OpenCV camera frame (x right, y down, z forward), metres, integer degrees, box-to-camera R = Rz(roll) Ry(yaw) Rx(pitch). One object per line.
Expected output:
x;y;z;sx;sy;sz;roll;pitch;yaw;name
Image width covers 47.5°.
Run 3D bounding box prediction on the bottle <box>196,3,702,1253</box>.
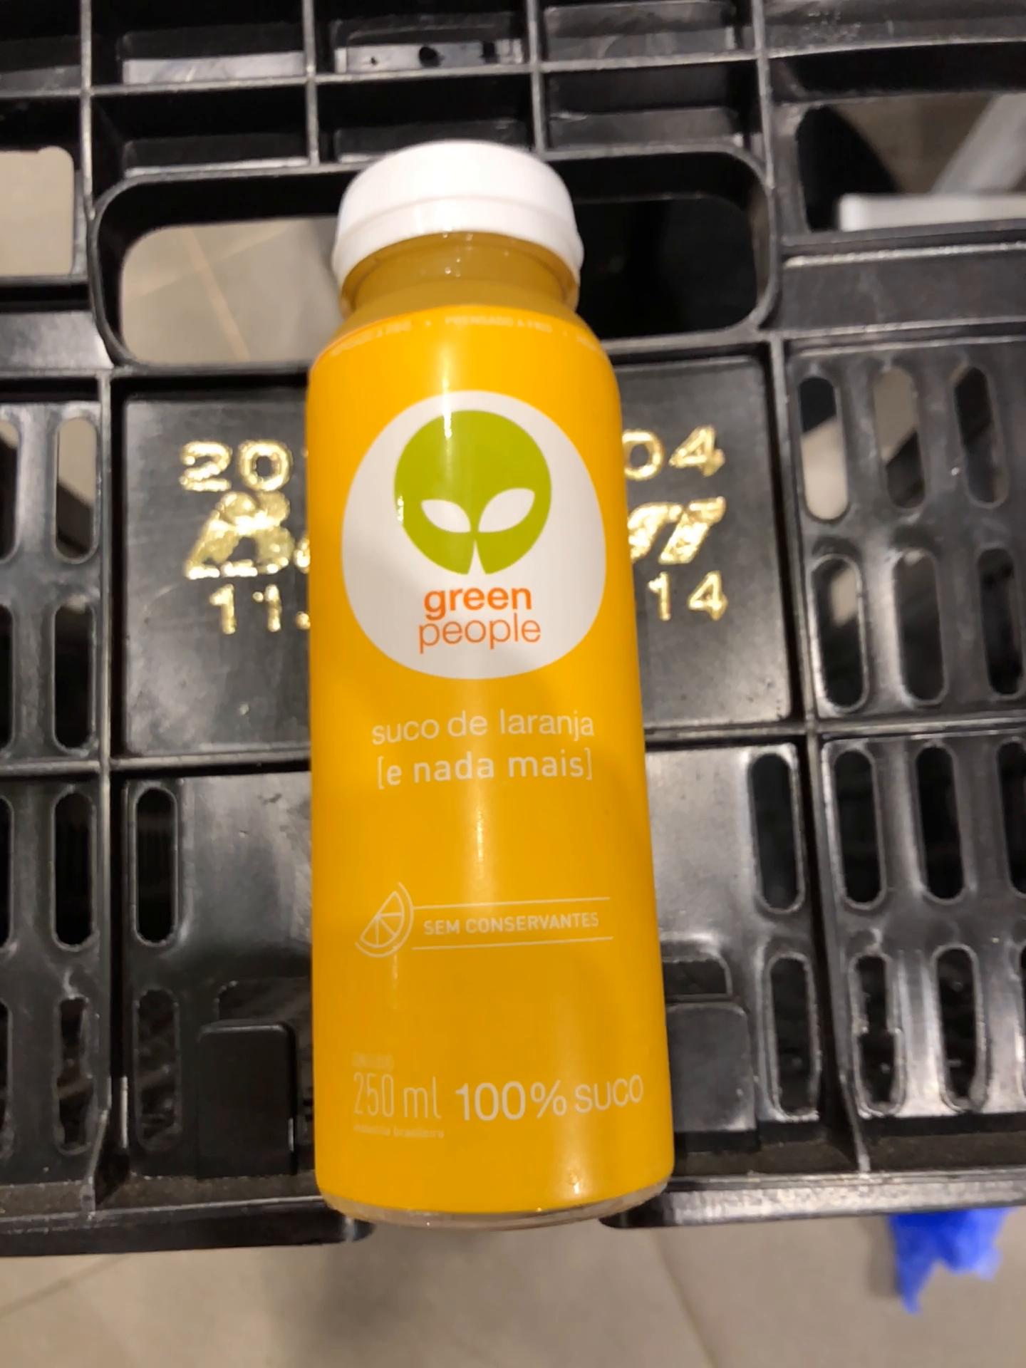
-0.013;-0.013;0.192;0.060;0.050;0.180;-5;78;1;bottle
